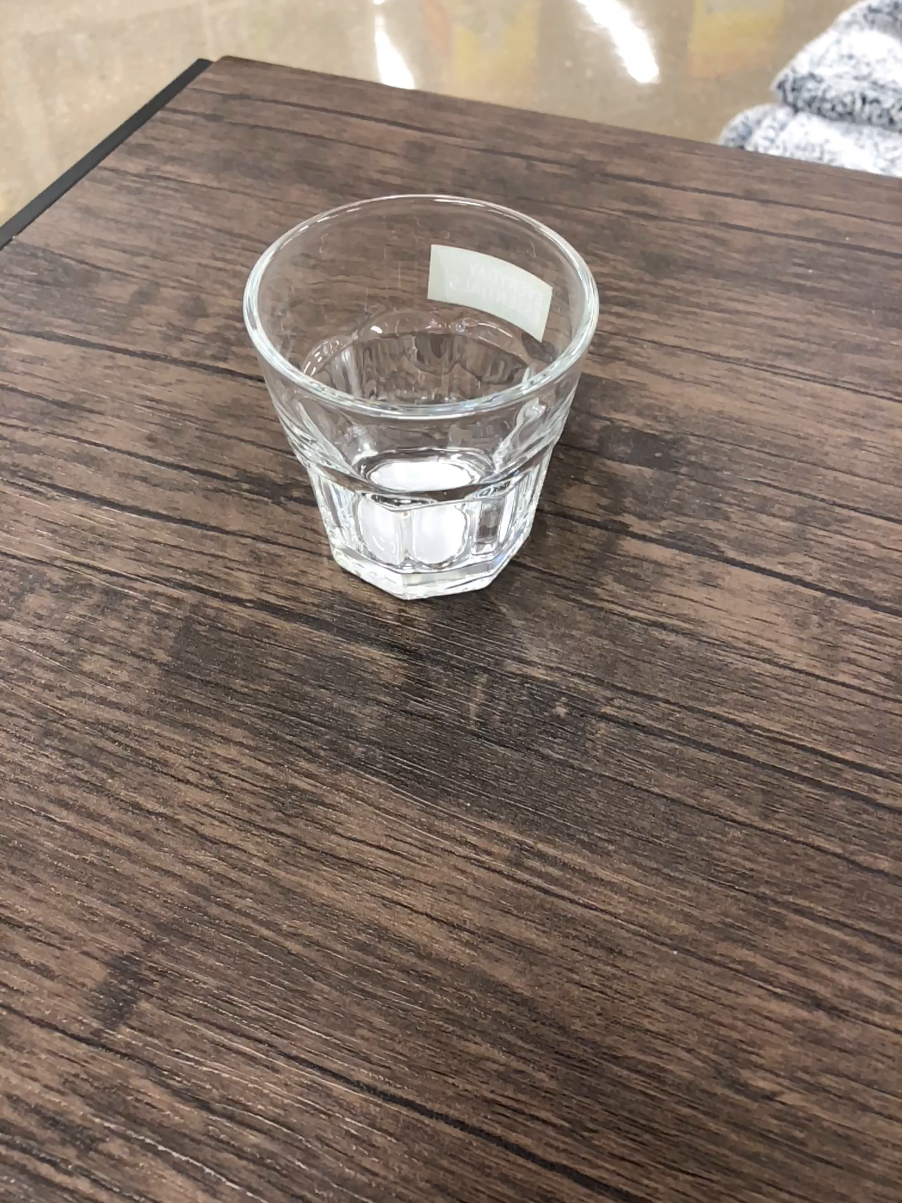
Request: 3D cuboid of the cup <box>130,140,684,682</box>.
[{"bbox_3d":[-0.011,-0.052,0.258,0.090,0.070,0.090,0,52,0],"label":"cup"}]
